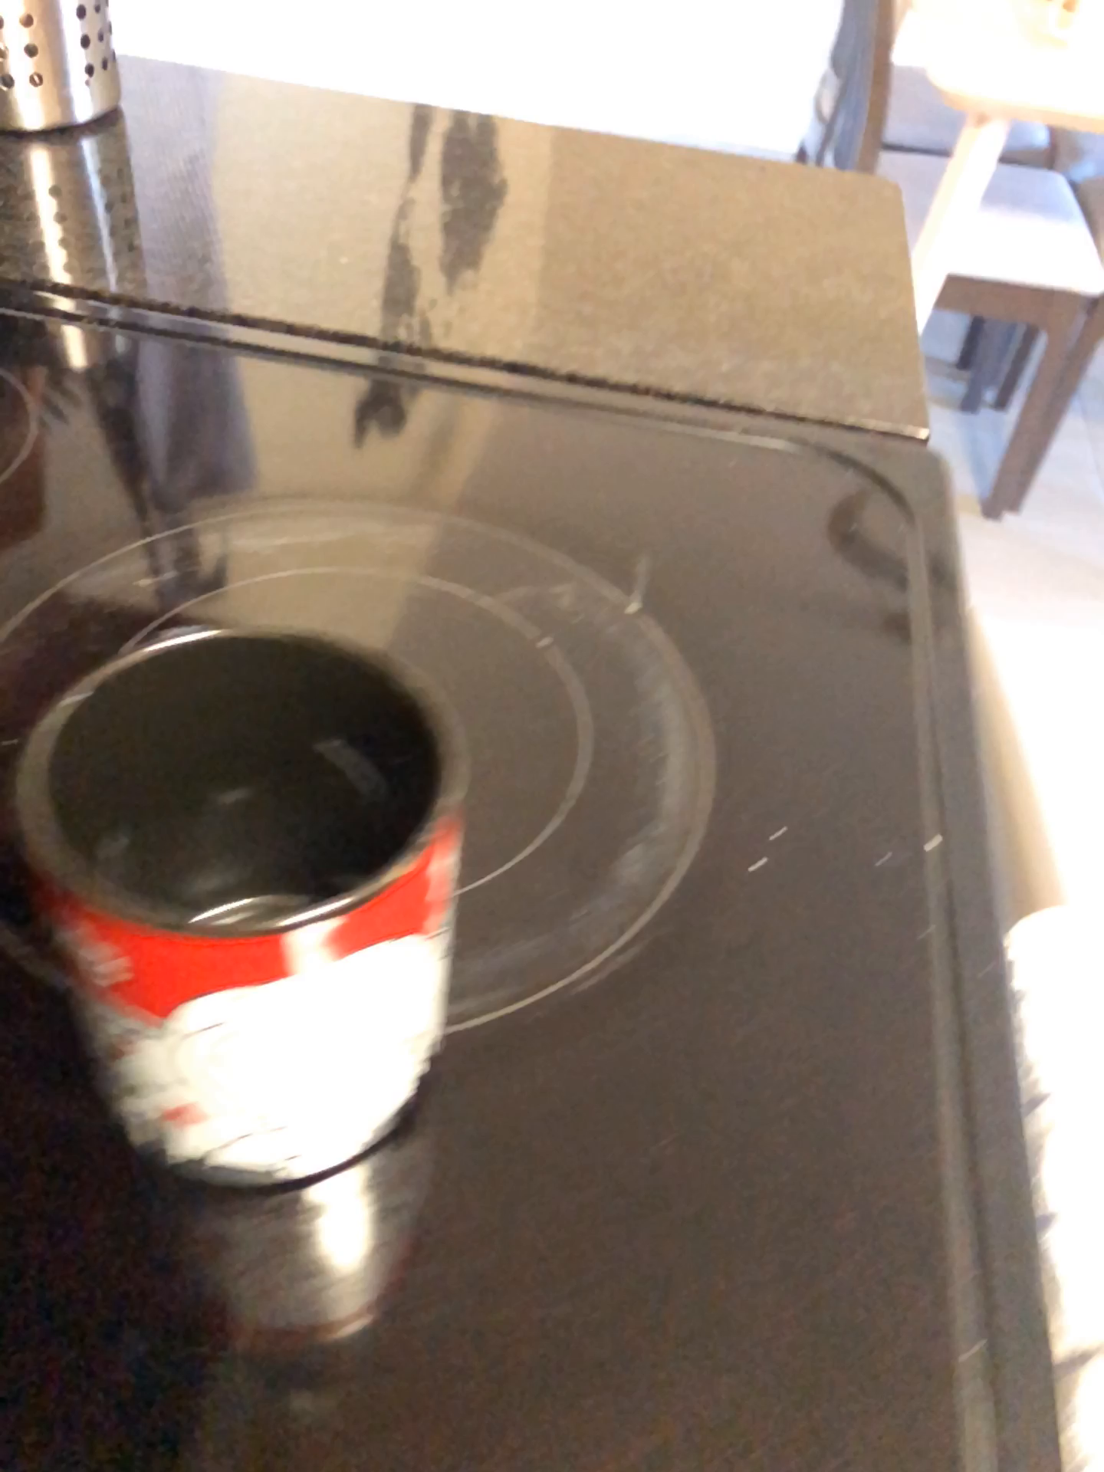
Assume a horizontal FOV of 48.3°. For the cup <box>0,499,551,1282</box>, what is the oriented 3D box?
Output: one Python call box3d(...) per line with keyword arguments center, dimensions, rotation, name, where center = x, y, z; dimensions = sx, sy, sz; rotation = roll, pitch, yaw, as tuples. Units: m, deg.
box3d(center=(-0.067, 0.026, 0.271), dimensions=(0.090, 0.090, 0.130), rotation=(-8, 46, -17), name="cup")
